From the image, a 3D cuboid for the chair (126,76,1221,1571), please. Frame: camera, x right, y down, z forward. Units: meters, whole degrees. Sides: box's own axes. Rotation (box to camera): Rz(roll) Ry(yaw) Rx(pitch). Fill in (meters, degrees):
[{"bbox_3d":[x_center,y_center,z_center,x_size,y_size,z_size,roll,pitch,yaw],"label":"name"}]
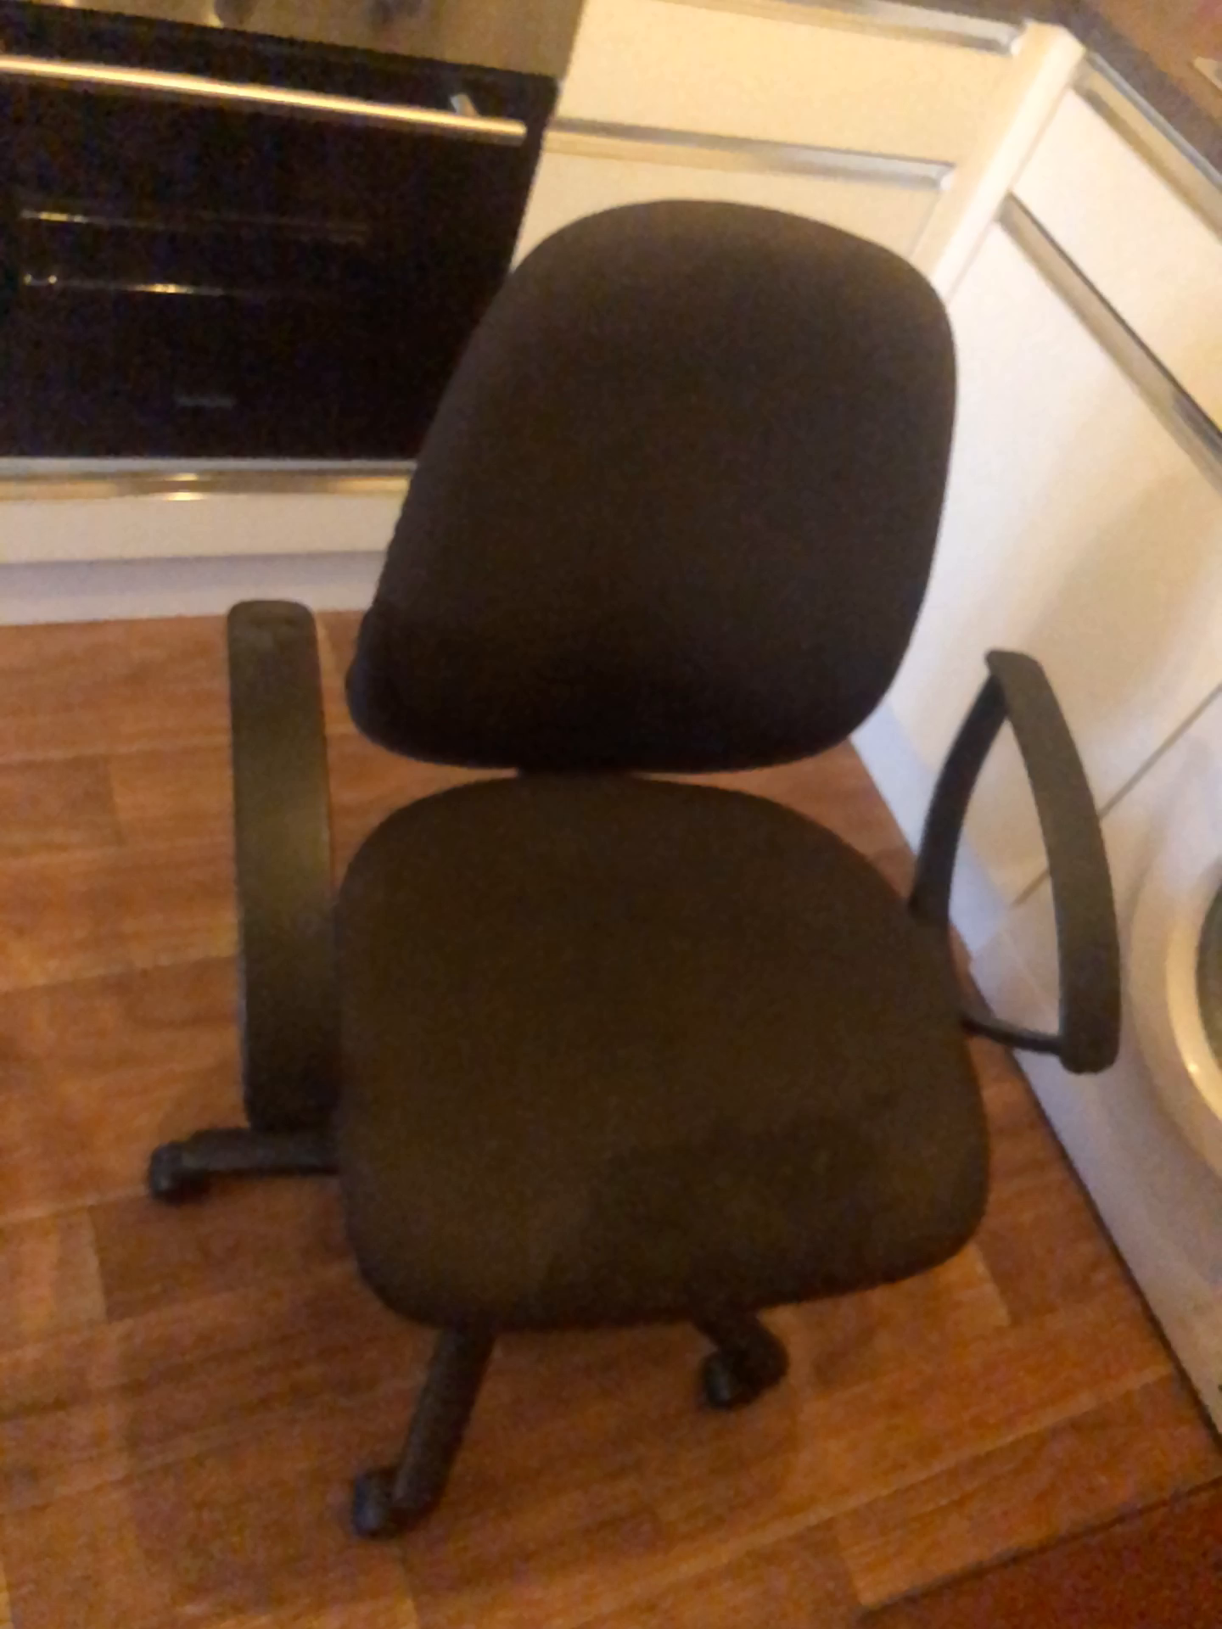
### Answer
[{"bbox_3d":[0.020,0.087,1.031,0.674,0.816,0.655,3,52,-20],"label":"chair"}]
